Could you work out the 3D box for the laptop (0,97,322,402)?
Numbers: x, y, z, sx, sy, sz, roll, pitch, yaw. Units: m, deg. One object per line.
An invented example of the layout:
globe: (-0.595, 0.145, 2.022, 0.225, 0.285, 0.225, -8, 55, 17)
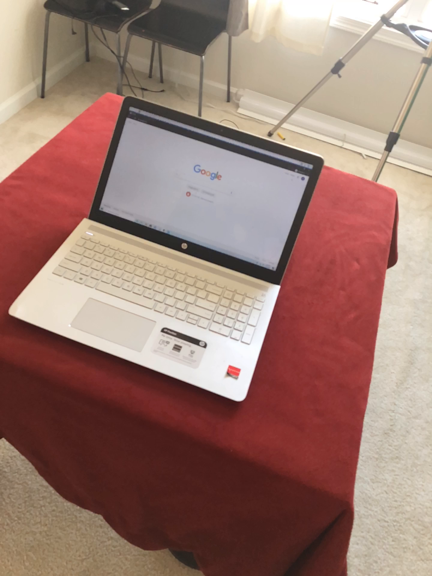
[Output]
laptop: (-0.063, -0.088, 0.748, 0.360, 0.158, 0.397, 20, 49, 5)
